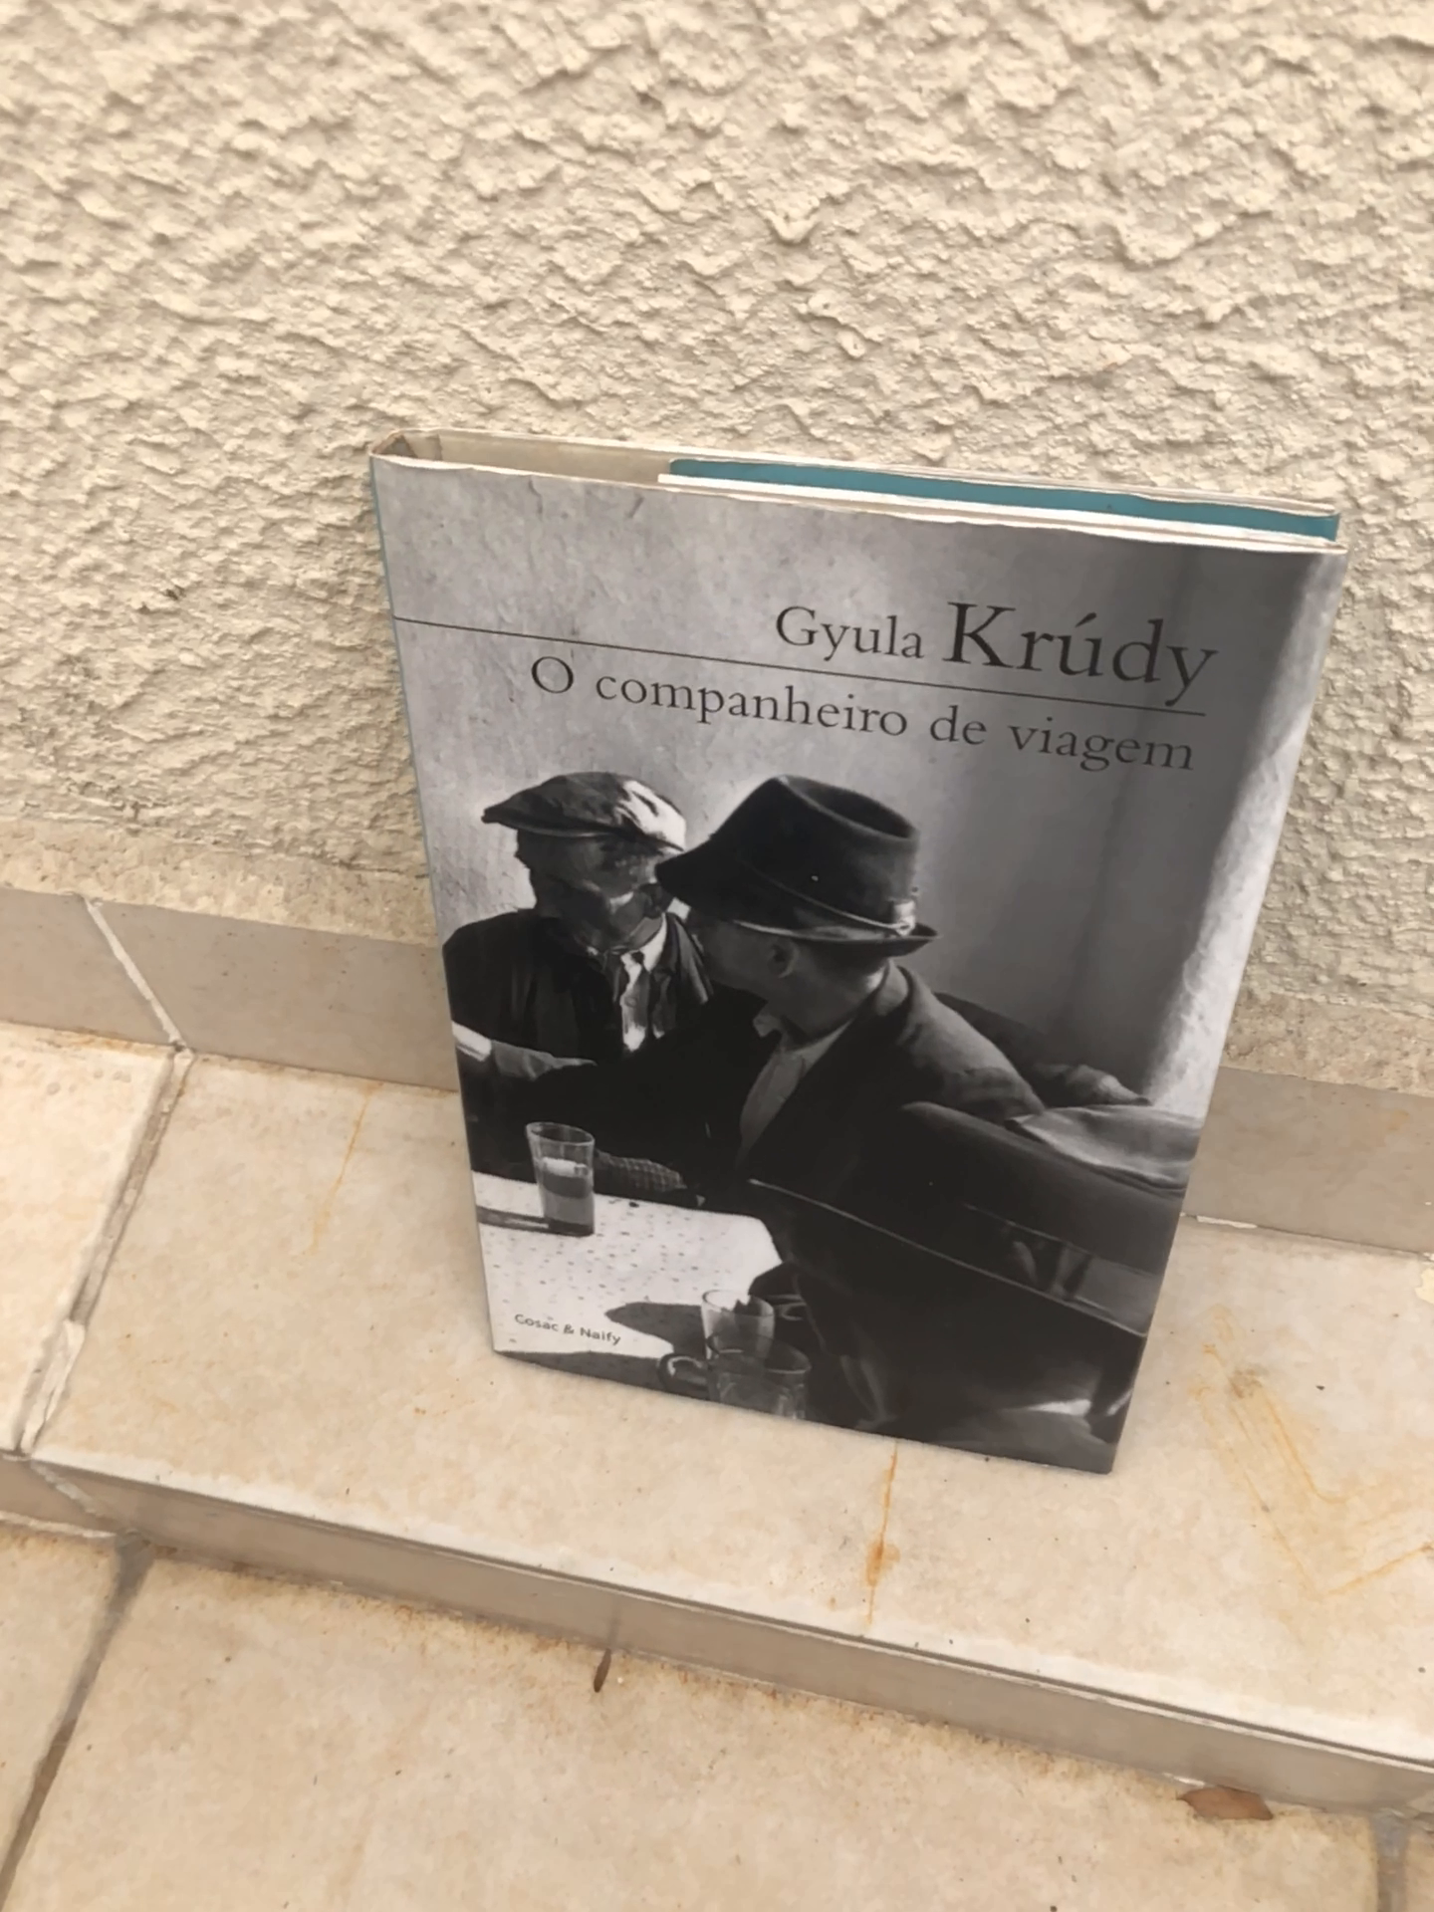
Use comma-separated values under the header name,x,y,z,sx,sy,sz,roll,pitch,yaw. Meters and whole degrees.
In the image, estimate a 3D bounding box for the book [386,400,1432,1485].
name,x,y,z,sx,sy,sz,roll,pitch,yaw
book,0.023,0.013,0.279,0.137,0.205,0.019,8,40,9
